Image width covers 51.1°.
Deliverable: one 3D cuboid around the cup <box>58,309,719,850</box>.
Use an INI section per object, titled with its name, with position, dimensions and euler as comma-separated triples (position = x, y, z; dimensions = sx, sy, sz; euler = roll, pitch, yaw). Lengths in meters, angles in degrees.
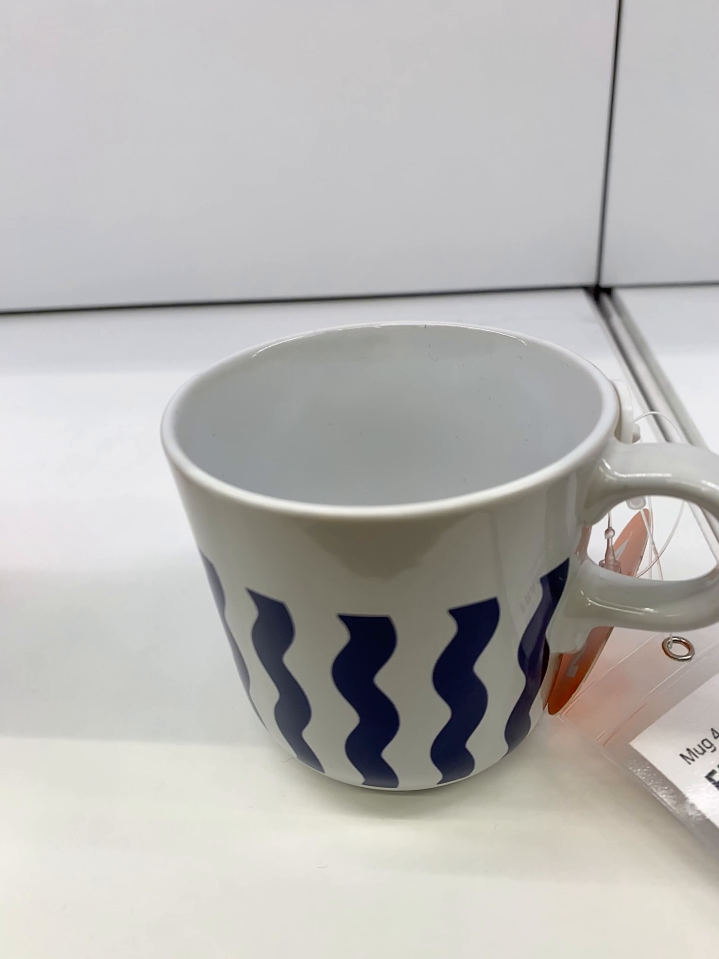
[cup]
position = 0.014, 0.014, 0.152
dimensions = 0.101, 0.071, 0.076
euler = -1, 29, 8
